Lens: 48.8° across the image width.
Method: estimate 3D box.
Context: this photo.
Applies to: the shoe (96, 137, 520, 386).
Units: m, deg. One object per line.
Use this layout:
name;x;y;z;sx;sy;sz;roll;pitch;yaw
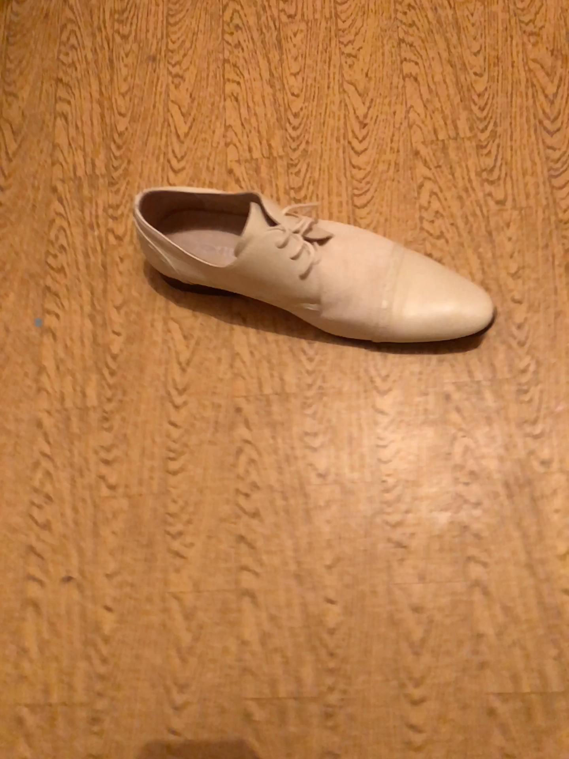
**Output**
shoe;0.017;-0.097;0.529;0.310;0.100;0.100;17;76;10
